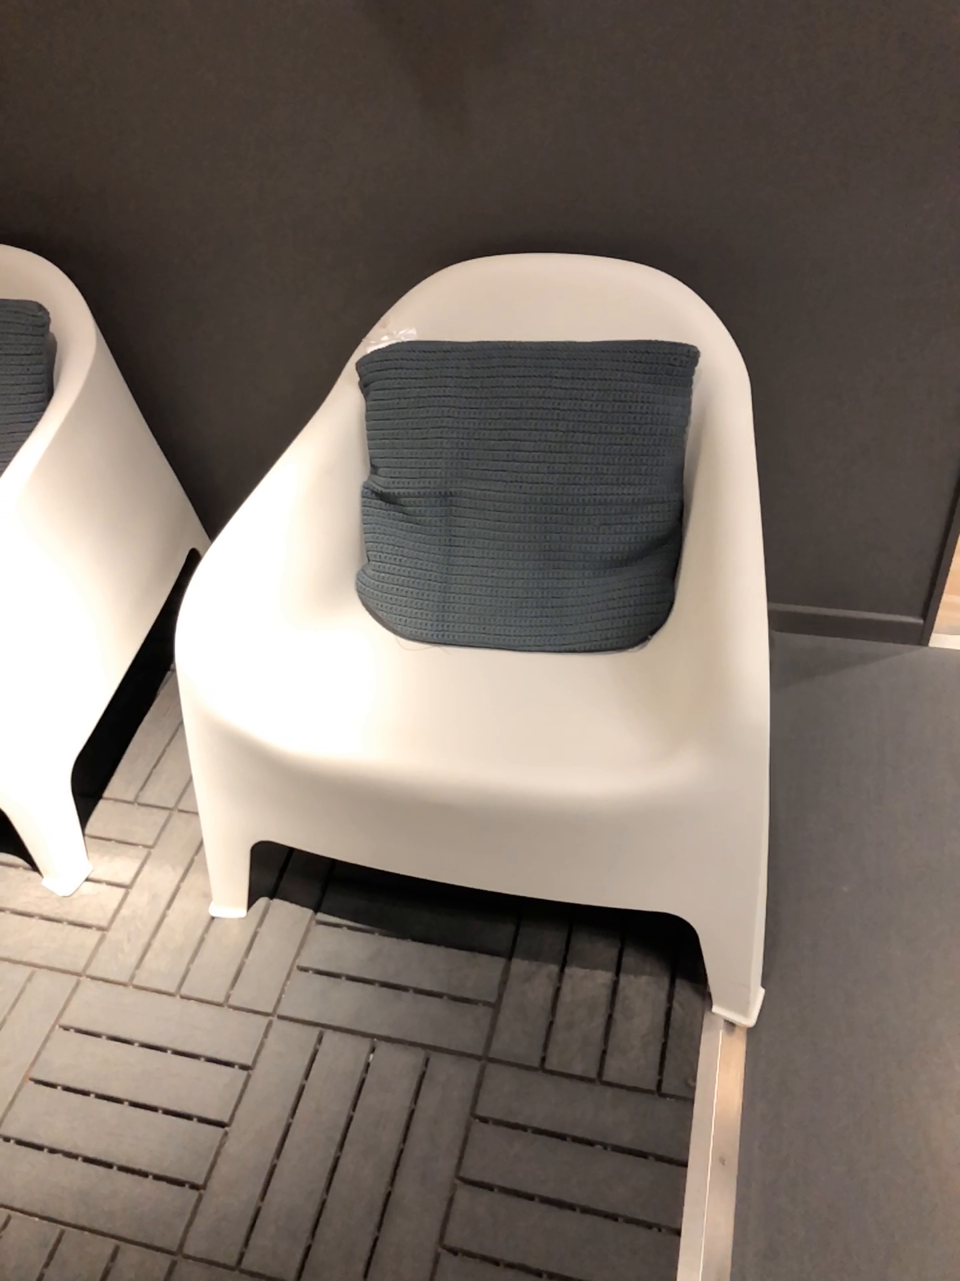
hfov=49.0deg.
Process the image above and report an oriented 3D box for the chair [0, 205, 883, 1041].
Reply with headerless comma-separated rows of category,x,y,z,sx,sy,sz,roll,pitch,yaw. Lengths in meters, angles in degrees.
chair,0.040,-0.068,1.474,0.830,0.765,0.785,6,44,13
